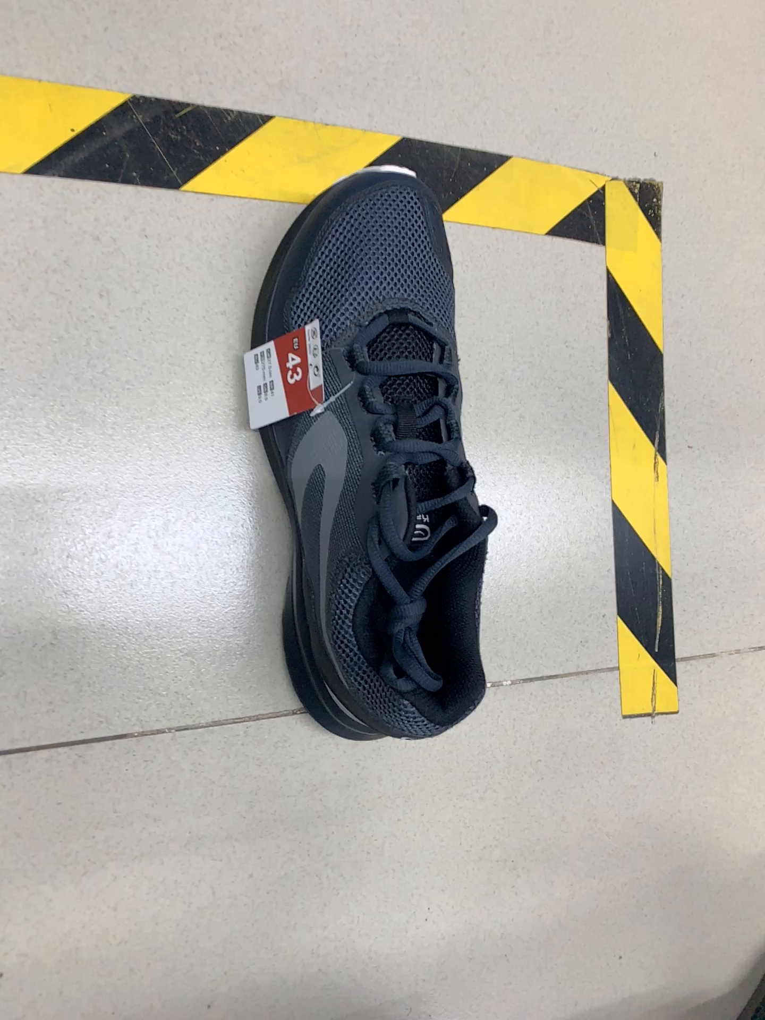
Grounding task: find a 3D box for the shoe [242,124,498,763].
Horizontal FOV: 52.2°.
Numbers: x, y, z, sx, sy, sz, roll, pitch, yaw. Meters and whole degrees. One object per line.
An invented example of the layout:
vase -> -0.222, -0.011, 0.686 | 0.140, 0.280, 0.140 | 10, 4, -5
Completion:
shoe -> -0.008, -0.029, 0.395 | 0.110, 0.070, 0.280 | 1, 88, -23
